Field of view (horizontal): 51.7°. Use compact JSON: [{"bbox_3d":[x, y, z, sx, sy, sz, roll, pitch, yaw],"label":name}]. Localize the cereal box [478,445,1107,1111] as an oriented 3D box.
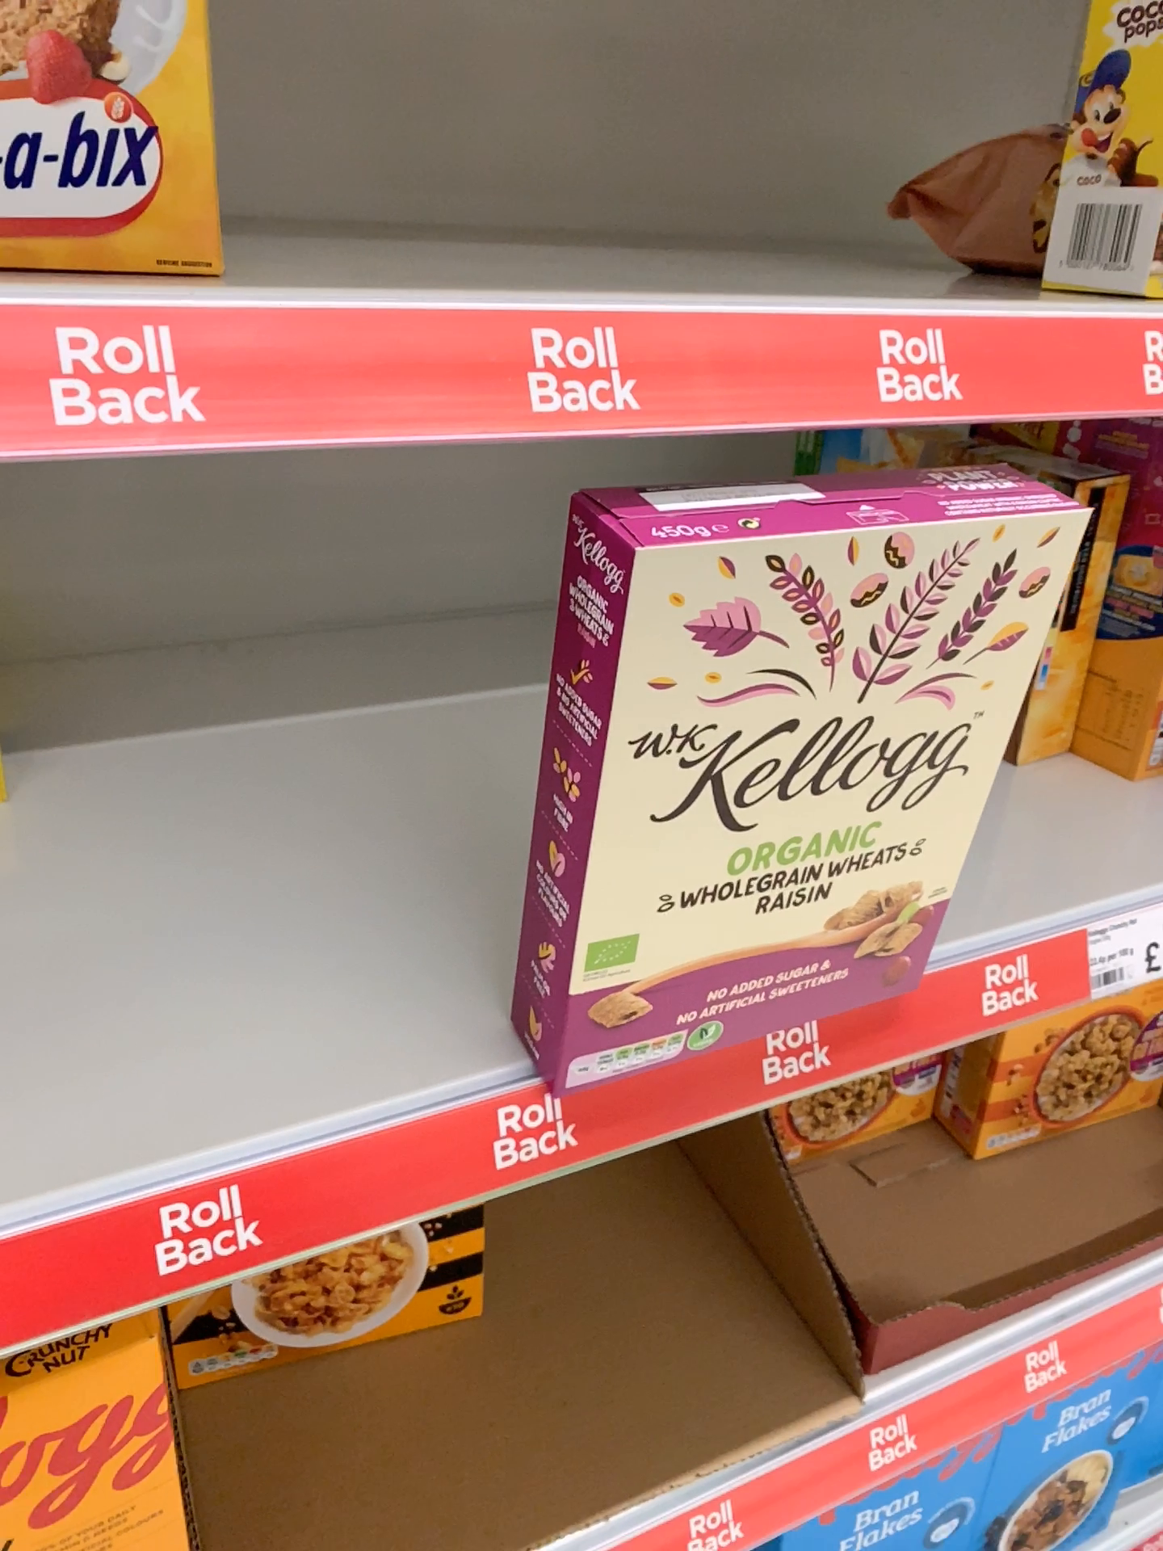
[{"bbox_3d":[0.070,-0.002,0.451,0.201,0.218,0.060,-11,35,-25],"label":"cereal box"}]
